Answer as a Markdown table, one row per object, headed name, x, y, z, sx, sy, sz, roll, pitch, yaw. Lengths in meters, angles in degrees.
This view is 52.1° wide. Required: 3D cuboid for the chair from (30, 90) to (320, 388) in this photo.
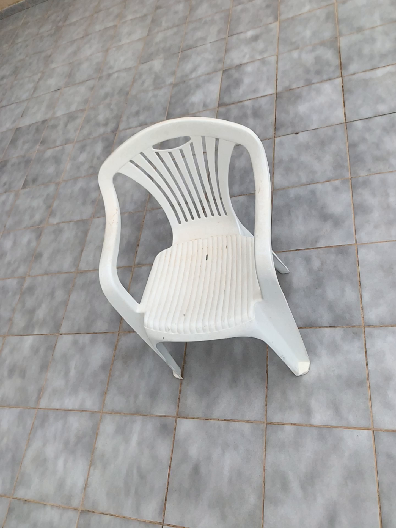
| name | x | y | z | sx | sy | sz | roll | pitch | yaw |
| --- | --- | --- | --- | --- | --- | --- | --- | --- | --- |
| chair | 0.013 | 0.003 | 1.244 | 0.571 | 0.667 | 0.562 | -8 | 57 | 20 |
